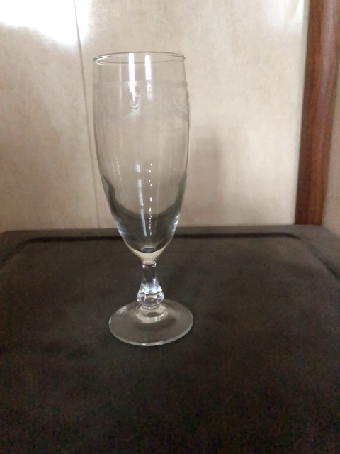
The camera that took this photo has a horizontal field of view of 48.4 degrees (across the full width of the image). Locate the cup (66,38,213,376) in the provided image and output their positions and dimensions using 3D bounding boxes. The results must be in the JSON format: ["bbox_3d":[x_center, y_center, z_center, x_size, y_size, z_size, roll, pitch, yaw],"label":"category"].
[{"bbox_3d":[-0.016,-0.011,0.222,0.060,0.169,0.060,-2,16,1],"label":"cup"}]
